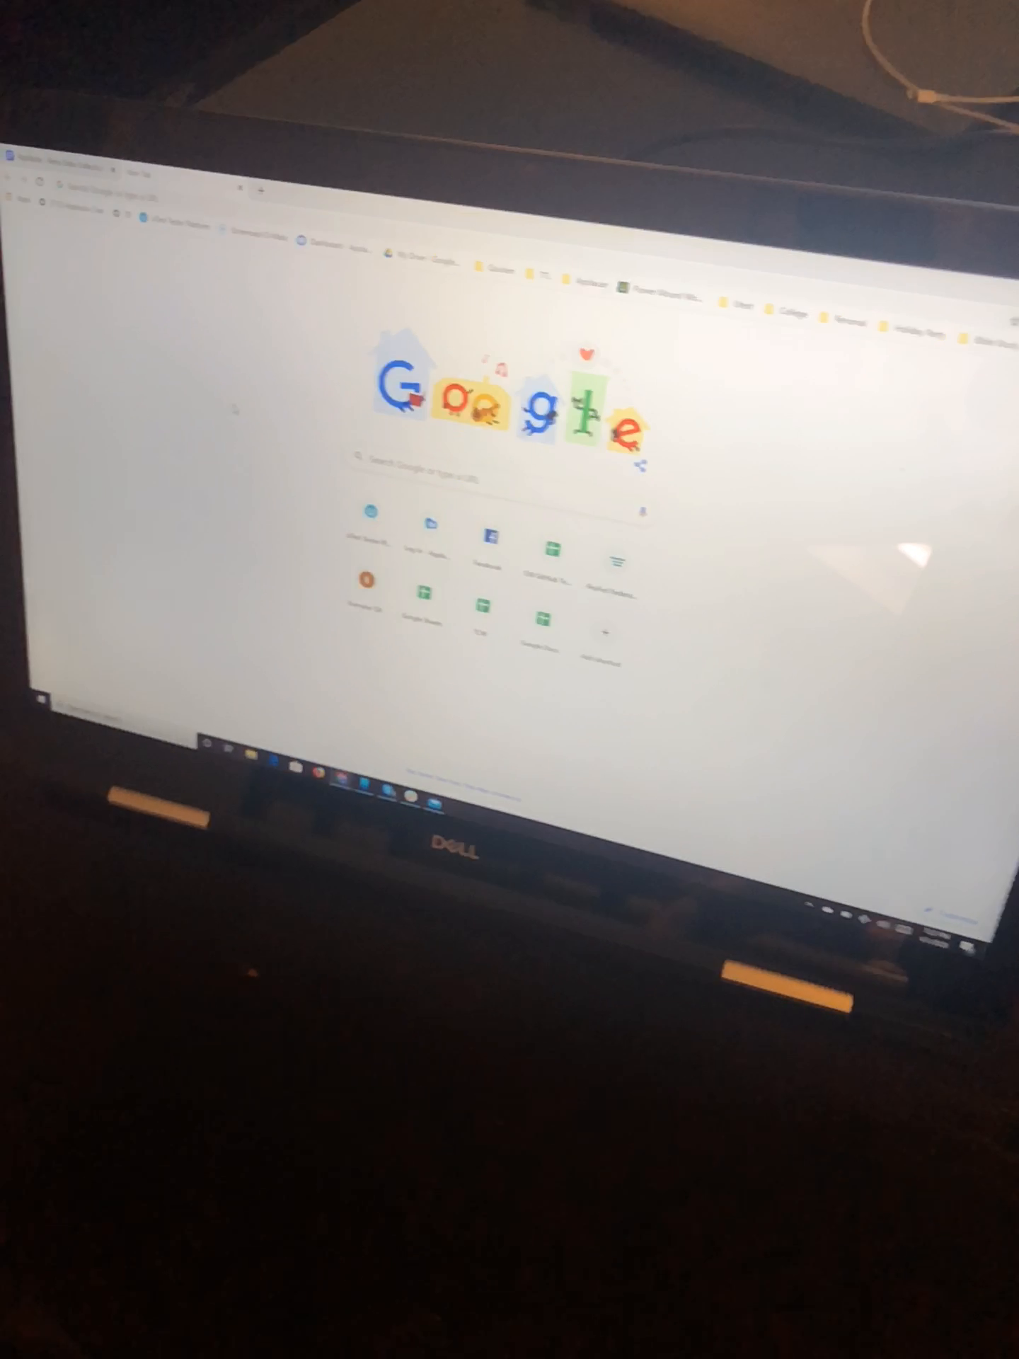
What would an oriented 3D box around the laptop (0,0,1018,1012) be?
[{"bbox_3d":[0.016,-0.096,0.434,0.419,0.232,0.268,14,58,14],"label":"laptop"}]
